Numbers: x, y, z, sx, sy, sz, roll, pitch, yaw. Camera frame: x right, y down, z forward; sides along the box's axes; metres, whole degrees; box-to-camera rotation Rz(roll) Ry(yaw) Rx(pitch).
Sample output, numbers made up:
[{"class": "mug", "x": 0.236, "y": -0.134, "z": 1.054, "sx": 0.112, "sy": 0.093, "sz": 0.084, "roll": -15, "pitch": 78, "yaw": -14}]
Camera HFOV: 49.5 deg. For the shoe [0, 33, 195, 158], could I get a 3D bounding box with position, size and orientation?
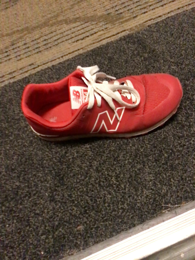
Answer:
[{"class": "shoe", "x": 0.004, "y": -0.044, "z": 0.329, "sx": 0.256, "sy": 0.108, "sz": 0.101, "roll": -10, "pitch": 60, "yaw": 5}]
